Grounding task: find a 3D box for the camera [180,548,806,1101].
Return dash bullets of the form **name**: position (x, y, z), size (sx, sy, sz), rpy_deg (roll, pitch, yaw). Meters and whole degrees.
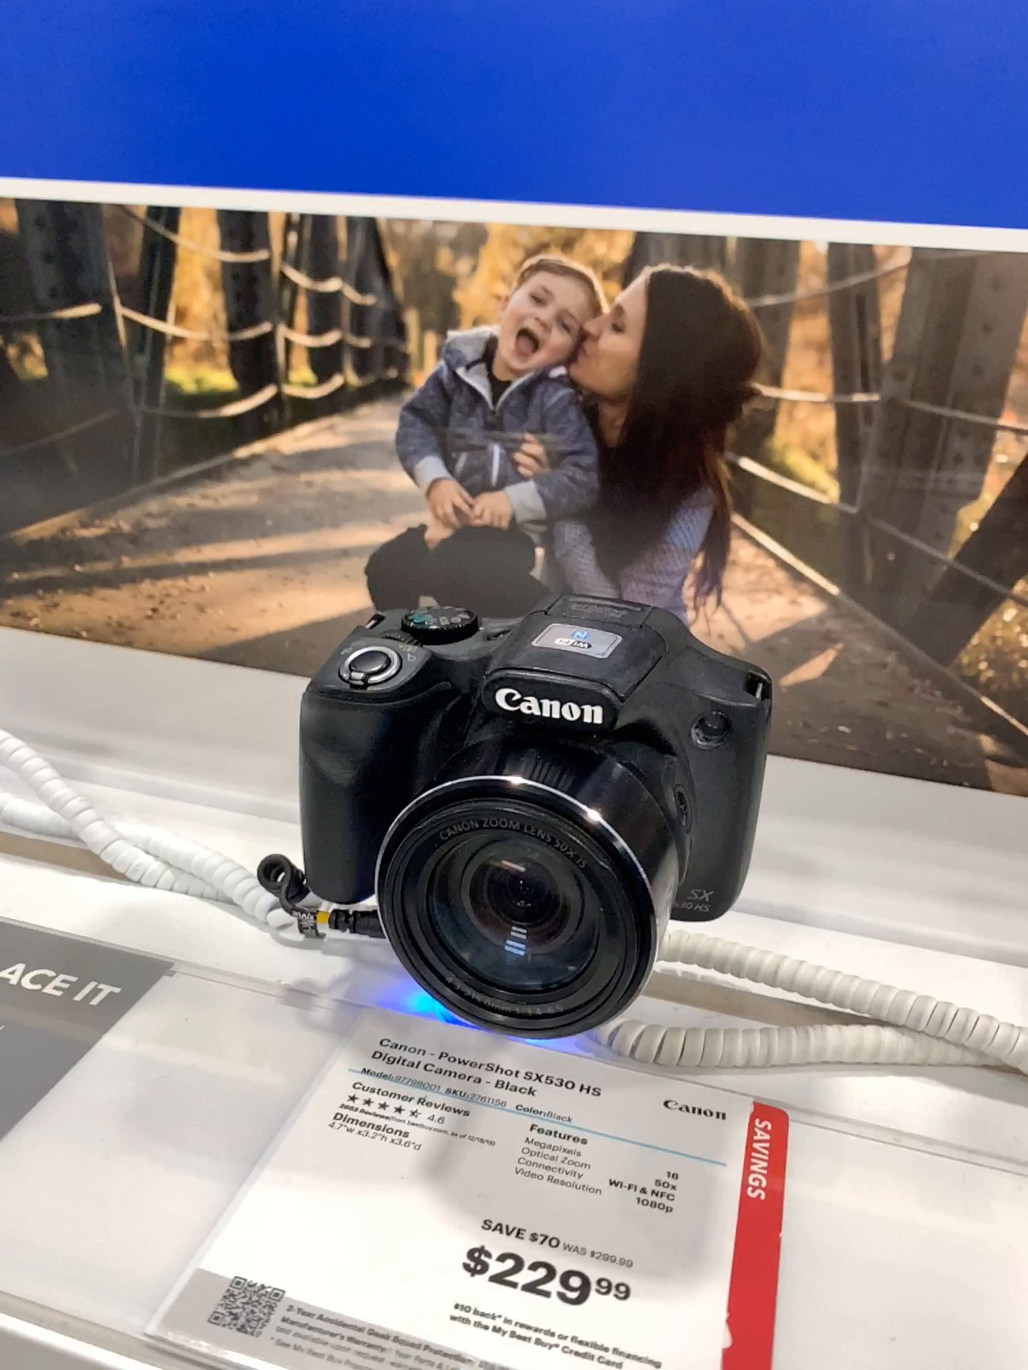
- **camera**: position (0.000, 0.023, 0.258), size (0.124, 0.080, 0.090), rpy_deg (9, 20, 11)
